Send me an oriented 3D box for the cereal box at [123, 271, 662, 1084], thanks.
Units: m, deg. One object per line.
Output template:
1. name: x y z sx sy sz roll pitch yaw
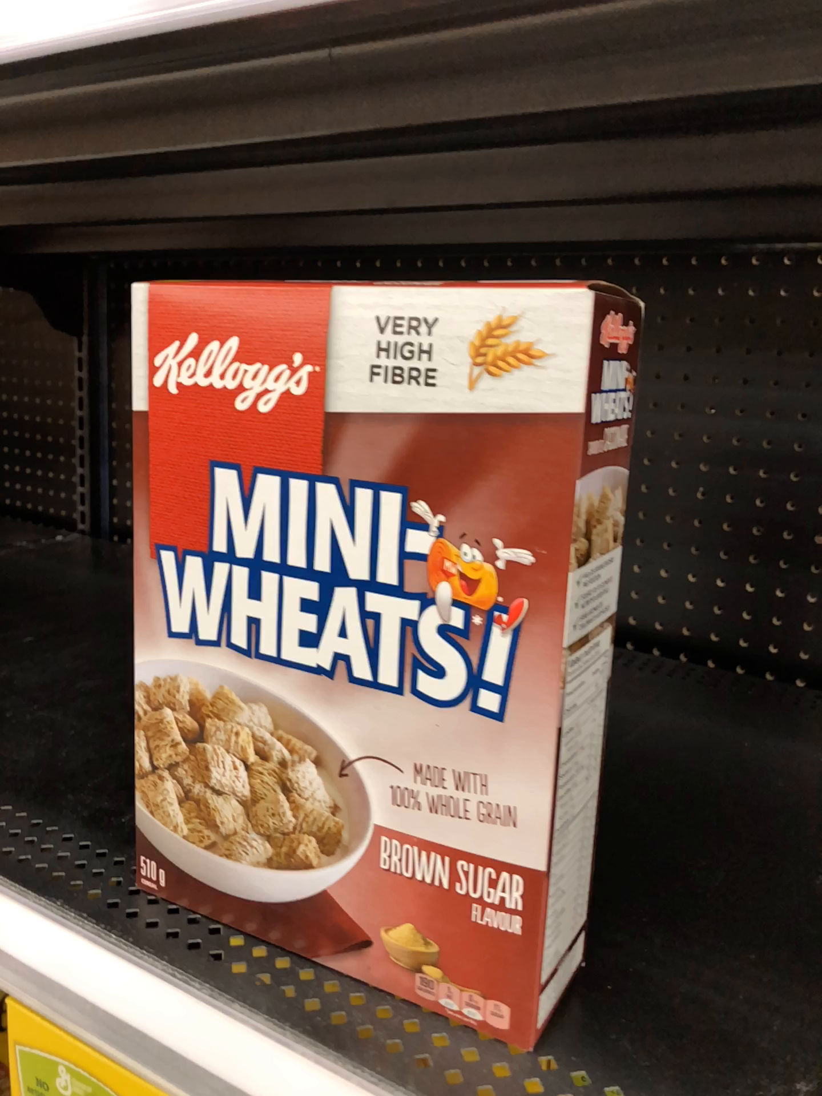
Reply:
1. cereal box: -0.019 0.035 0.370 0.200 0.279 0.060 9 13 28
